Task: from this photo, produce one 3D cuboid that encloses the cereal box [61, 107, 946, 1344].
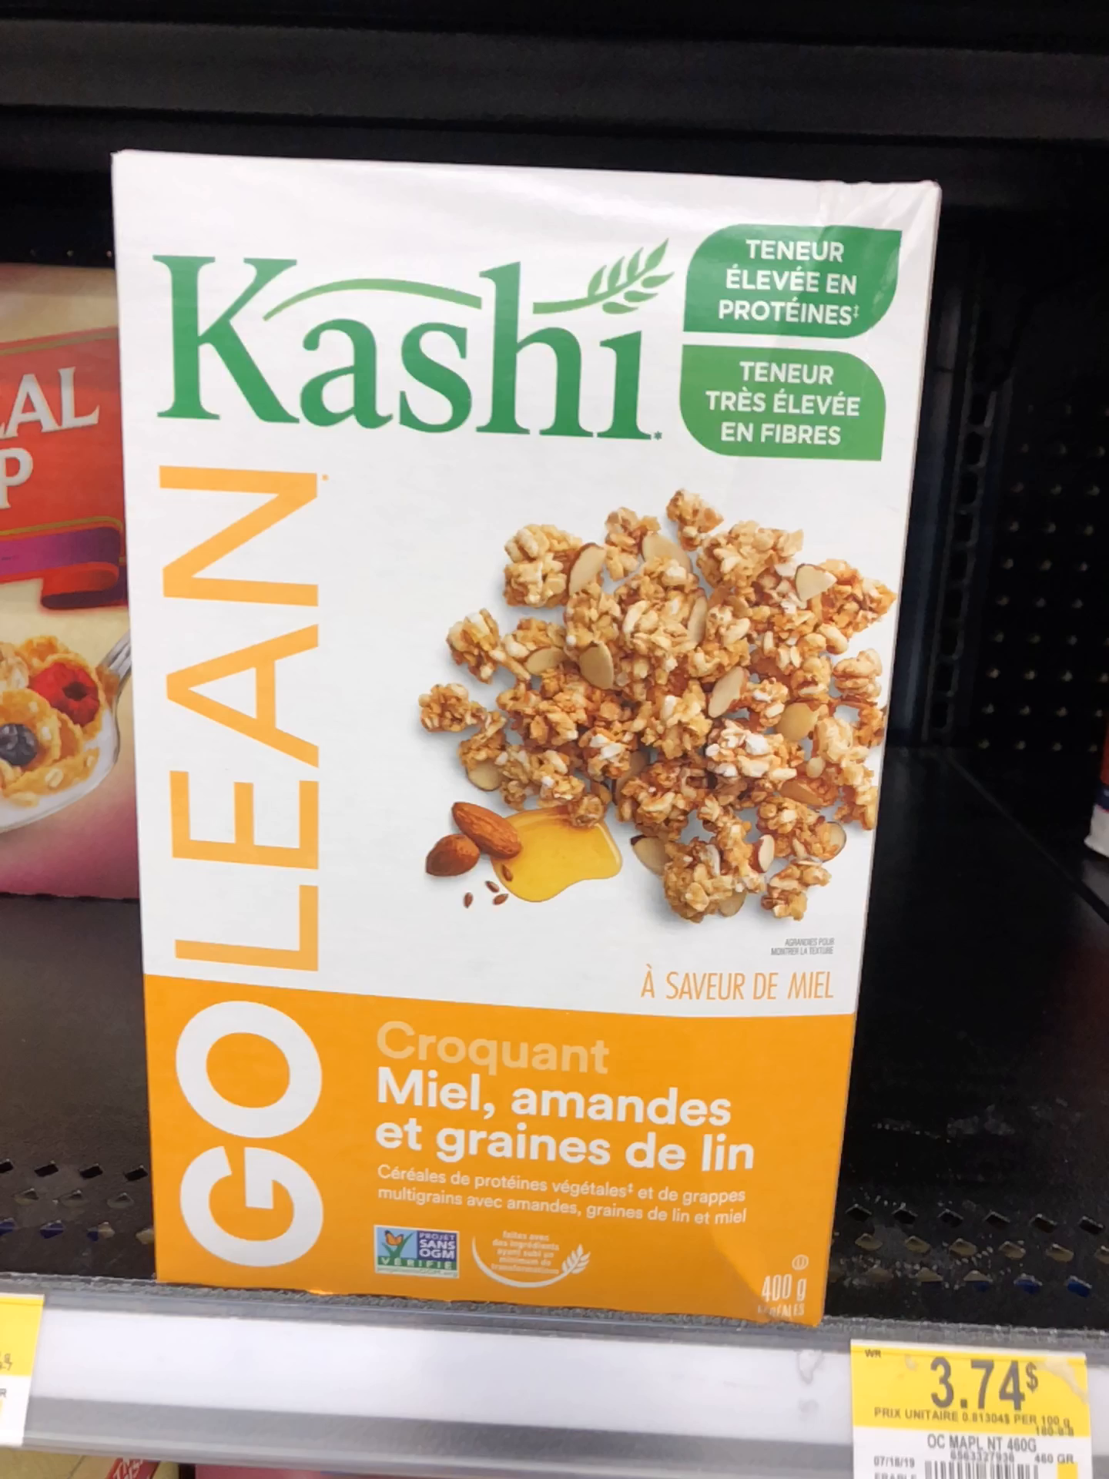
[{"bbox_3d":[-0.015,0.005,0.293,0.170,0.269,0.050,3,14,3],"label":"cereal box"}]
